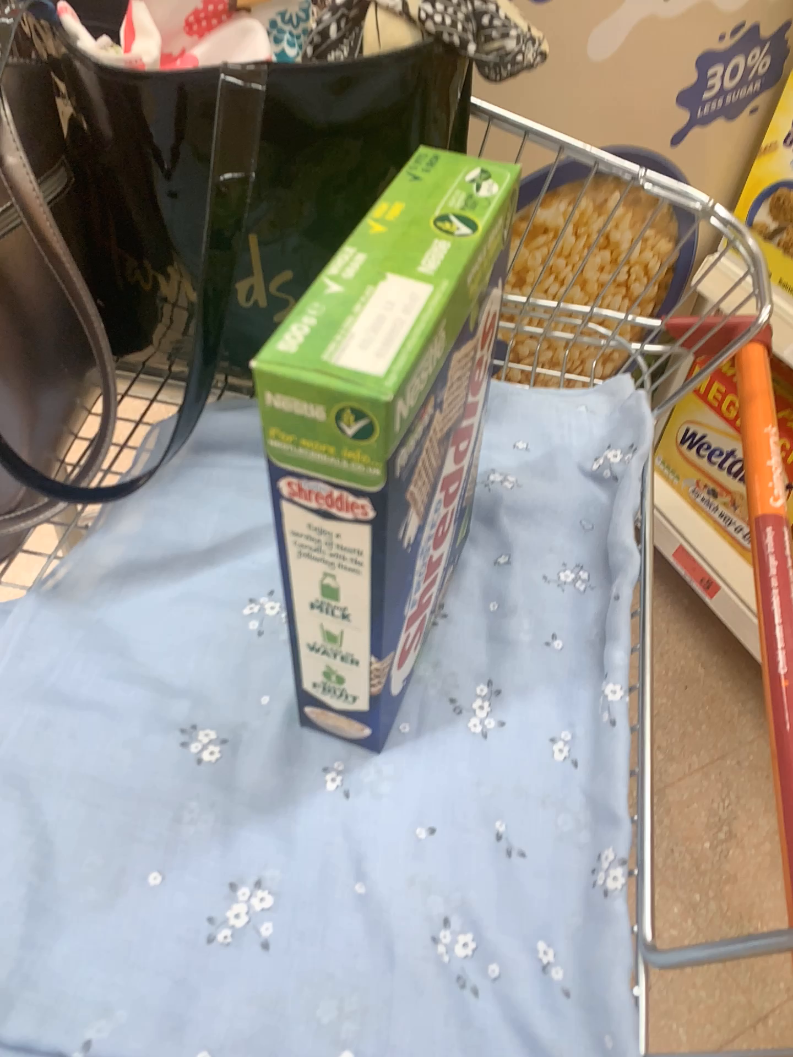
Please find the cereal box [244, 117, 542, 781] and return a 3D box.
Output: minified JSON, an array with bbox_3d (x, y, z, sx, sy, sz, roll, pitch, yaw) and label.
[{"bbox_3d":[0.000,-0.028,0.430,0.060,0.287,0.202,16,48,9],"label":"cereal box"}]
